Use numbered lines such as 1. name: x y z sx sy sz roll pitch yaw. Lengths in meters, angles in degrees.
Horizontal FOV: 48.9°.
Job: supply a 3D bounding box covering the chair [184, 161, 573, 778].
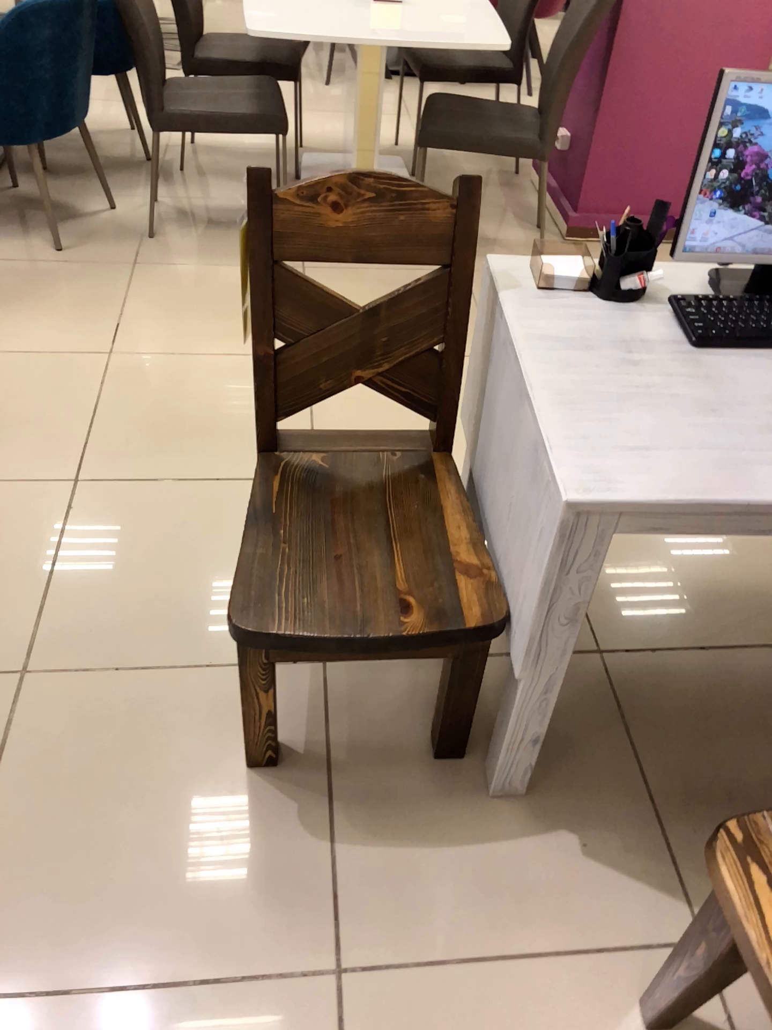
1. chair: -0.061 -0.051 1.485 0.450 0.895 0.573 -1 42 -7
